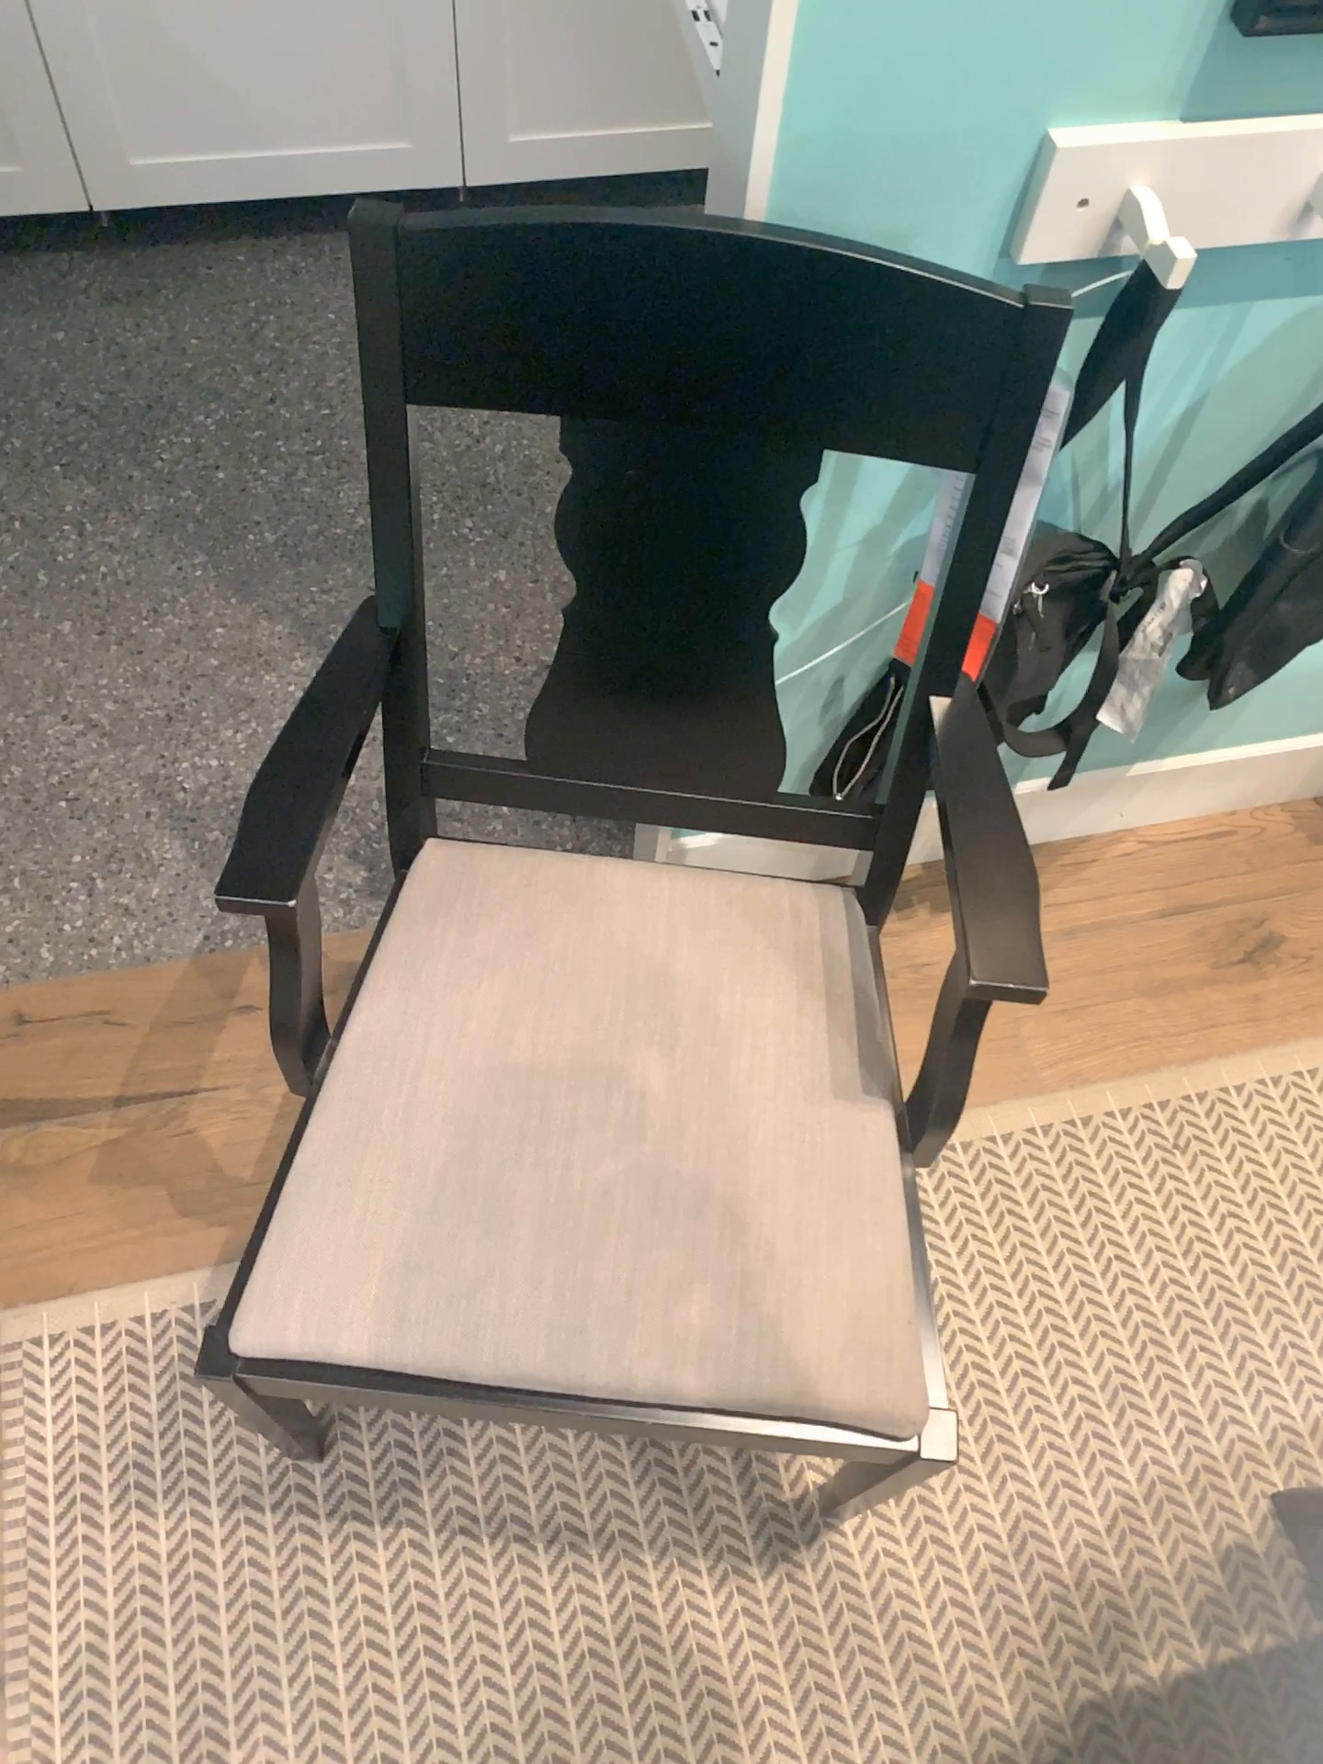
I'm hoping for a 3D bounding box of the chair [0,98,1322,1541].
[{"bbox_3d":[-0.019,0.049,1.139,0.600,0.898,0.802,7,60,-1],"label":"chair"}]
